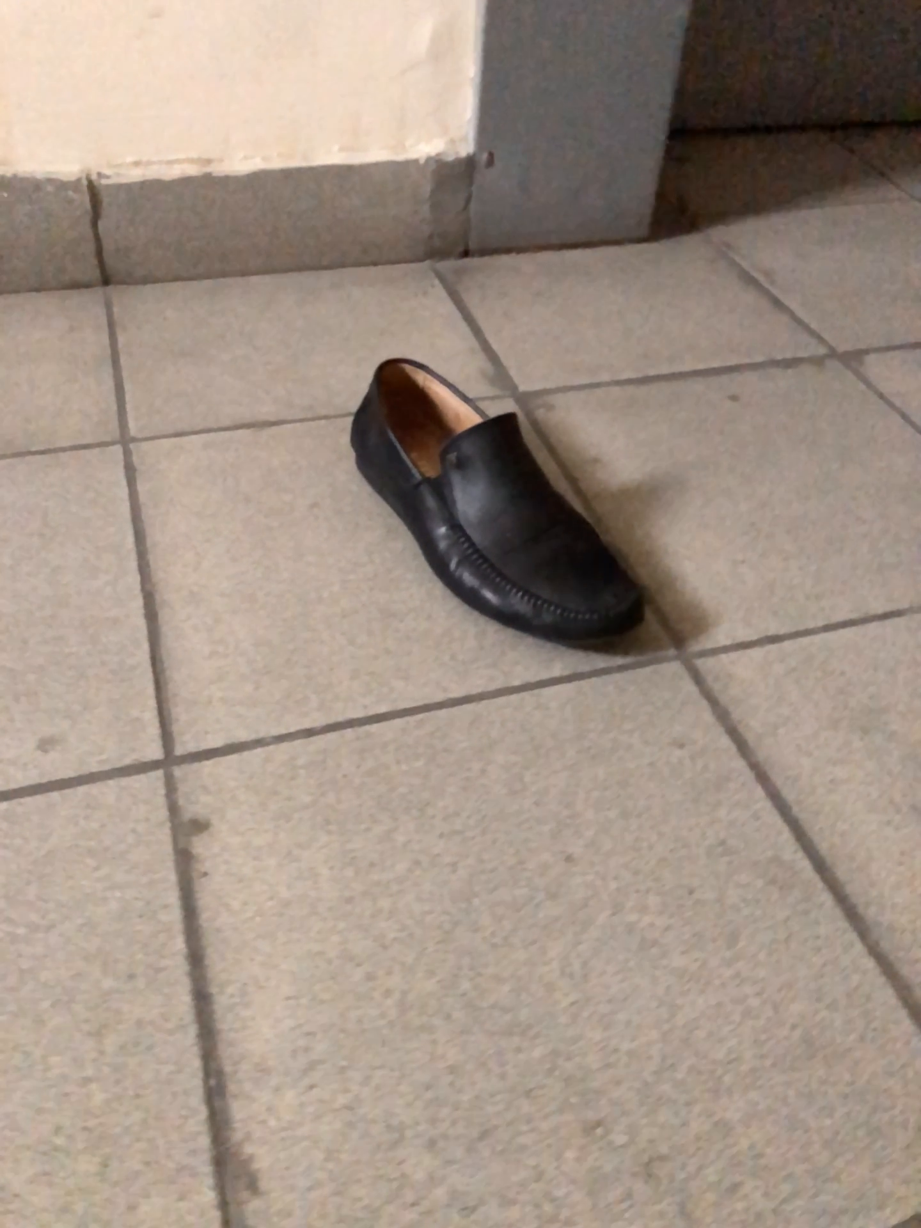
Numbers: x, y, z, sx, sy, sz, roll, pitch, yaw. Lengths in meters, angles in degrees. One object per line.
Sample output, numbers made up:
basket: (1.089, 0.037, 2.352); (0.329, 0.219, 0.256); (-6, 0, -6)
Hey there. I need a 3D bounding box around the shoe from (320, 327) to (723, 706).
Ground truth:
shoe: (0.024, -0.076, 0.646); (0.107, 0.079, 0.271); (-23, 50, -26)
